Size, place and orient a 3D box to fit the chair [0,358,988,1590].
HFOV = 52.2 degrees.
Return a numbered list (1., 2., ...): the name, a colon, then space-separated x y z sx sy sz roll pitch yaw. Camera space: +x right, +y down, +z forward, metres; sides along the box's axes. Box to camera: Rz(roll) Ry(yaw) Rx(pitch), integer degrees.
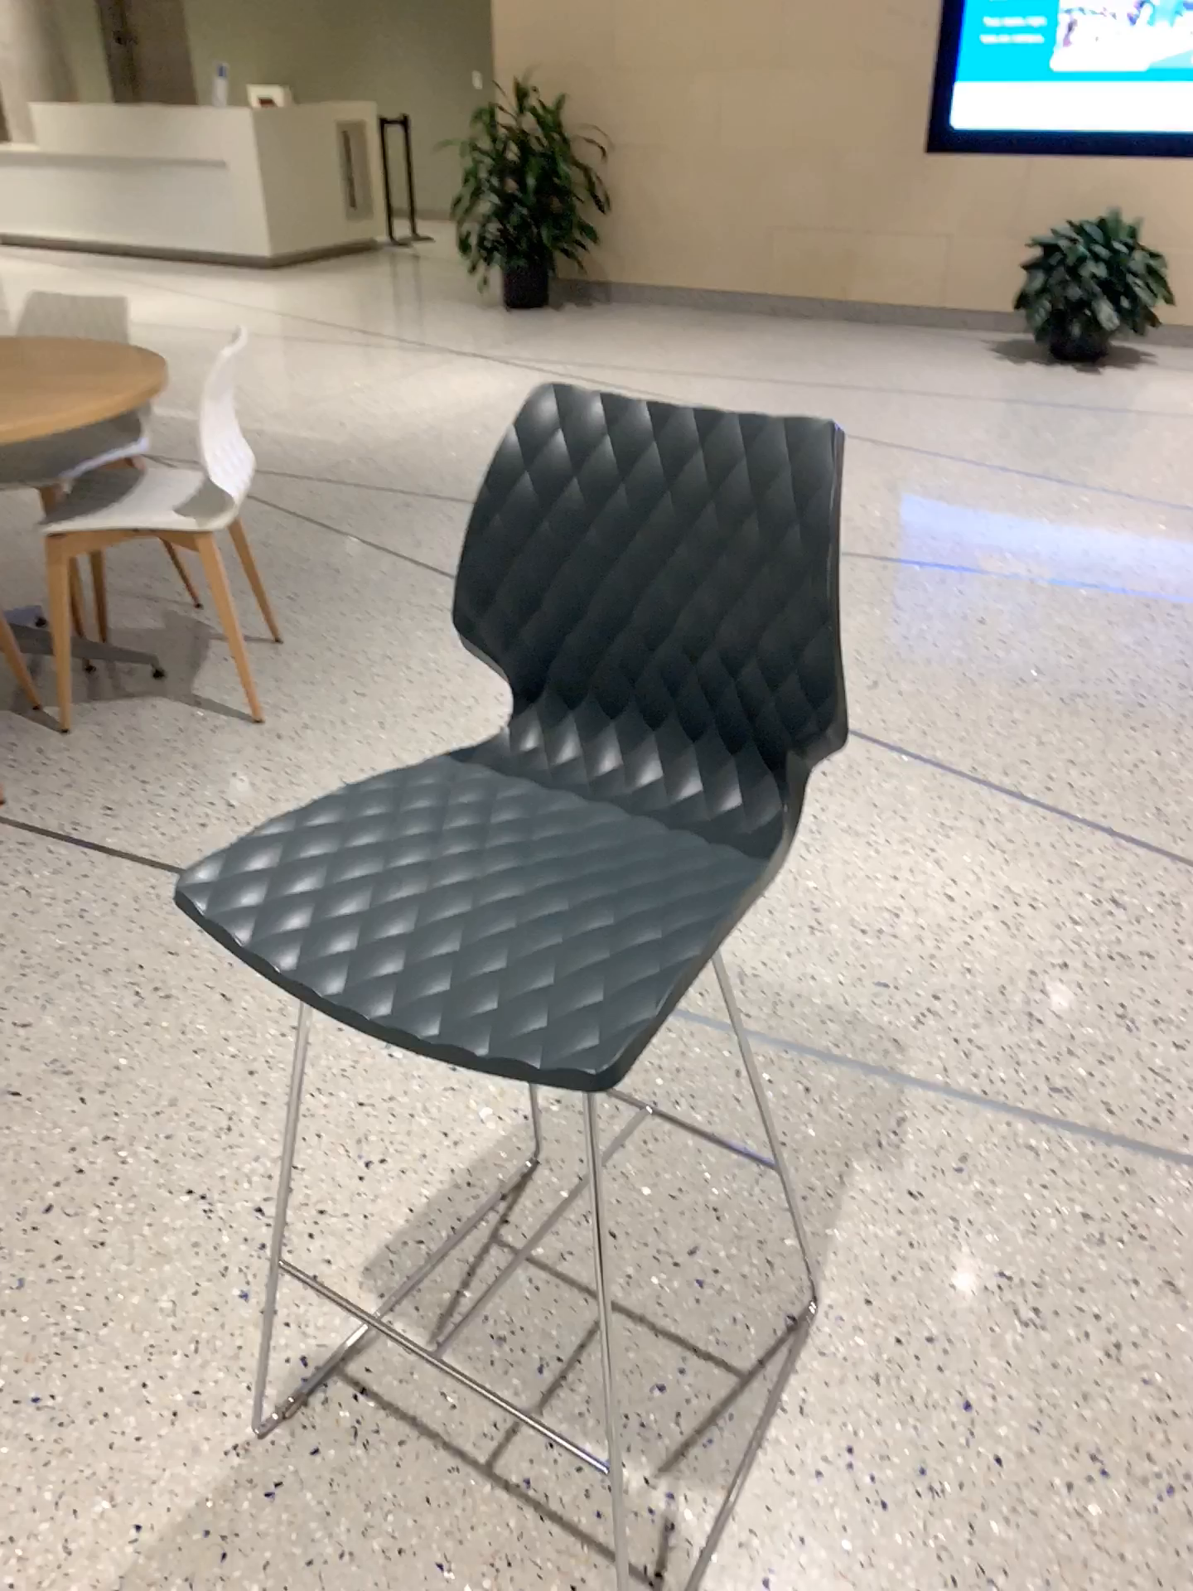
1. chair: -0.066 0.188 1.133 0.536 0.996 0.534 19 36 30
